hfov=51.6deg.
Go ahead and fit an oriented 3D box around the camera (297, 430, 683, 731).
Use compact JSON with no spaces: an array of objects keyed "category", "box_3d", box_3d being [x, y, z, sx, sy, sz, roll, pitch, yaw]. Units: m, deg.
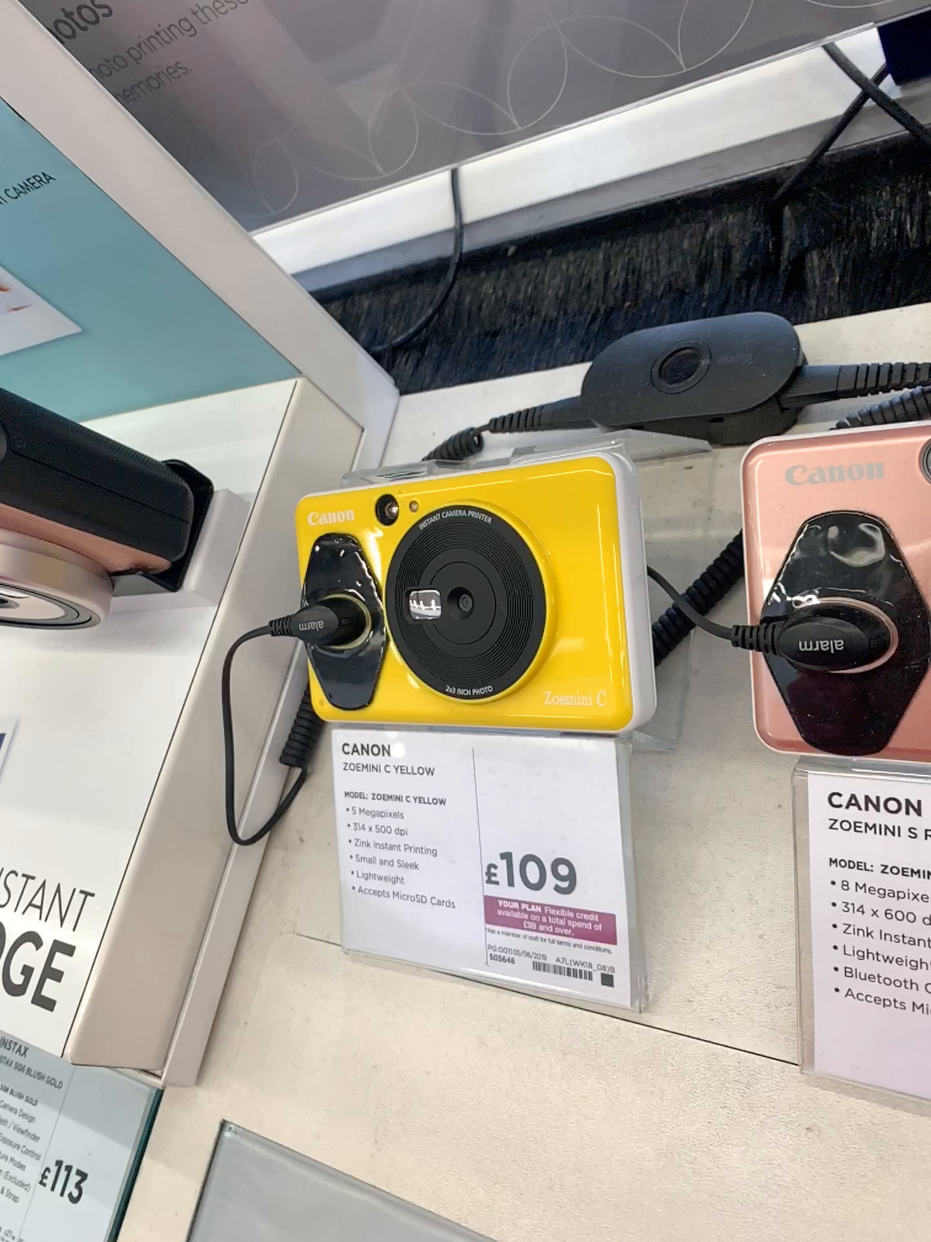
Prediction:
[{"category":"camera","box_3d":[0.003,-0.009,0.296,0.120,0.020,0.080,-2,95,35]}]
